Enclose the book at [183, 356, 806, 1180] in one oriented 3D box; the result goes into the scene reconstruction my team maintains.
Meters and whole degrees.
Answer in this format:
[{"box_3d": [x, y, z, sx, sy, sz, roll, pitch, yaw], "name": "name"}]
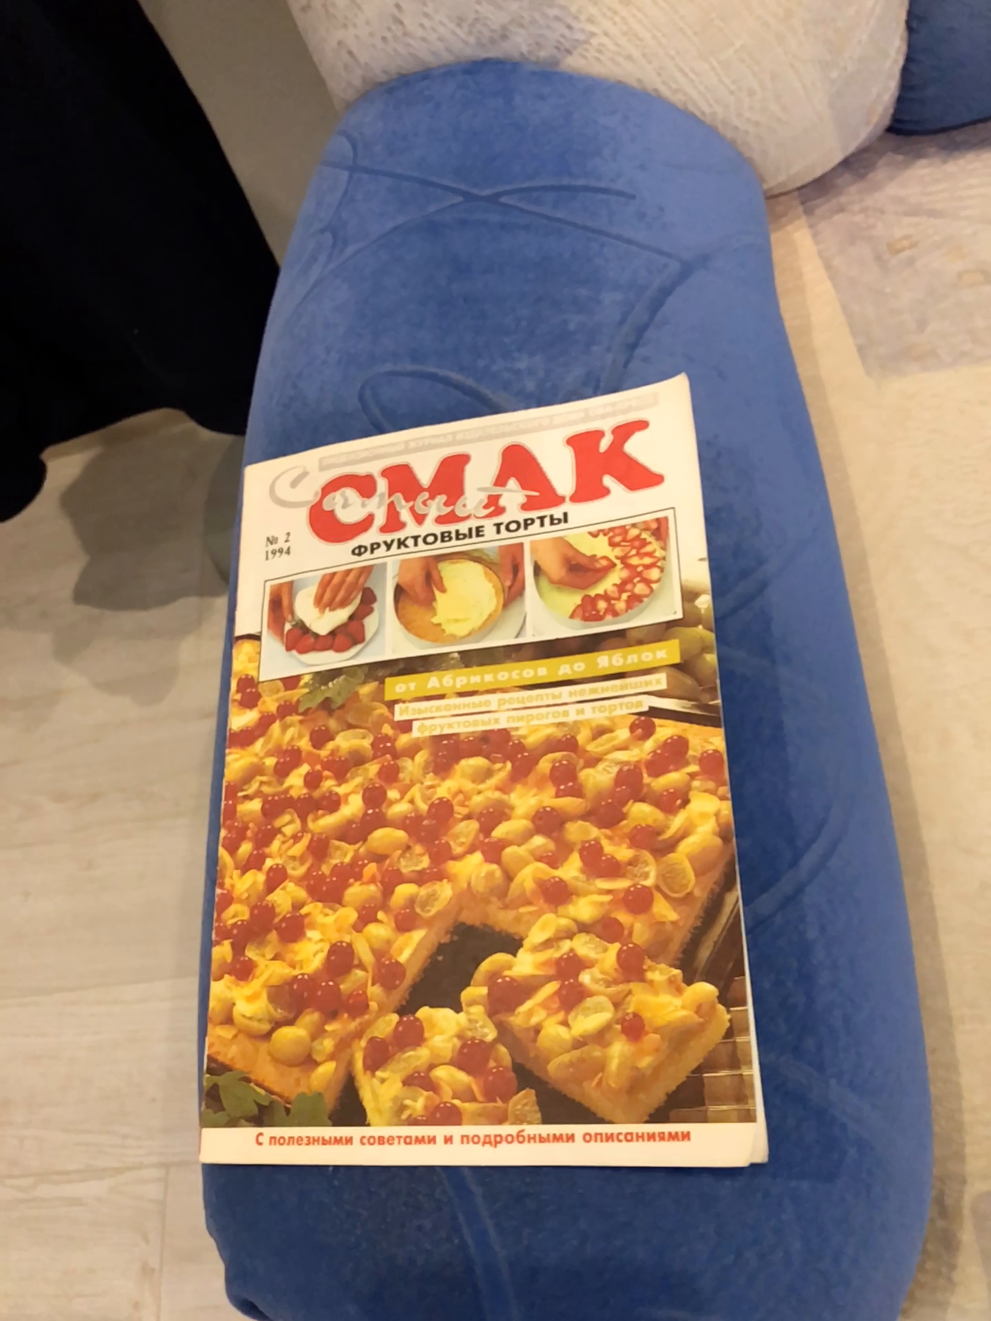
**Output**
[{"box_3d": [-0.008, 0.027, 0.333, 0.171, 0.010, 0.236, -8, 68, 17], "name": "book"}]
